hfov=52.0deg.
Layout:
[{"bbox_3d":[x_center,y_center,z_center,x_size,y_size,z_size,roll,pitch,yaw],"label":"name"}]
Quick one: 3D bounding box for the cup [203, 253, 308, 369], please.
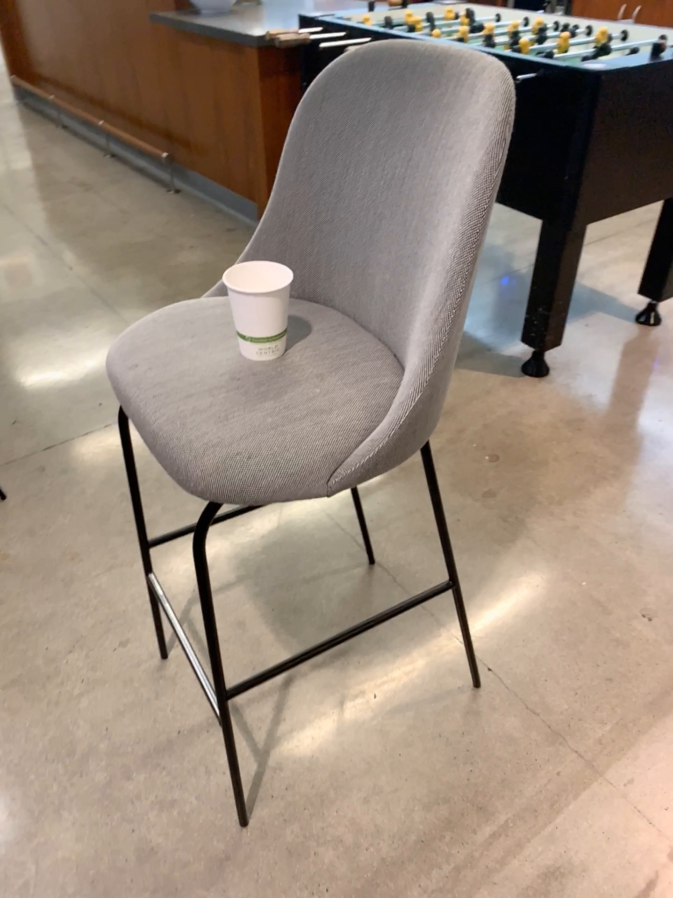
[{"bbox_3d":[-0.098,-0.175,0.866,0.090,0.099,0.090,-1,38,1],"label":"cup"}]
